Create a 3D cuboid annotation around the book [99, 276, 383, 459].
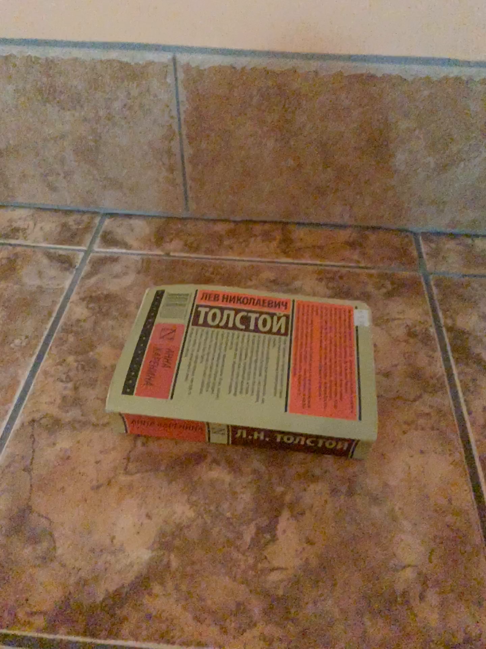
[{"bbox_3d":[0.003,0.027,0.379,0.185,0.044,0.120,5,48,3],"label":"book"}]
